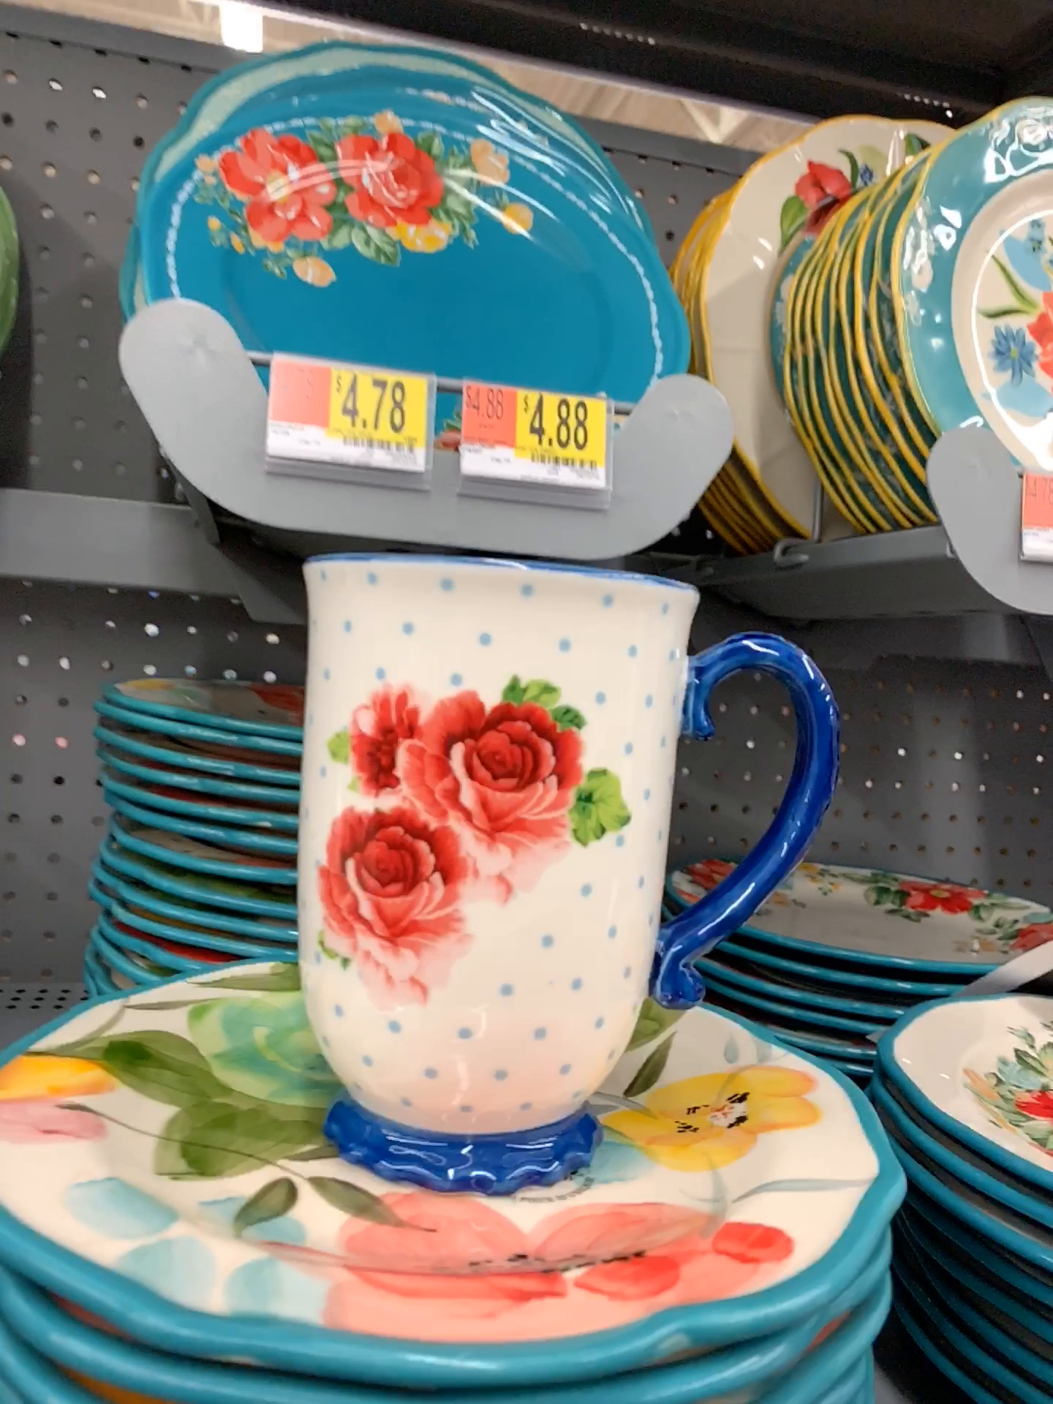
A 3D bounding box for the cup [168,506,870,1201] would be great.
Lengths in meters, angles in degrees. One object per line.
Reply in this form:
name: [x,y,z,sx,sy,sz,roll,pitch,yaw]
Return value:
cup: [-0.003,0.029,0.262,0.130,0.130,0.090,5,3,-1]
